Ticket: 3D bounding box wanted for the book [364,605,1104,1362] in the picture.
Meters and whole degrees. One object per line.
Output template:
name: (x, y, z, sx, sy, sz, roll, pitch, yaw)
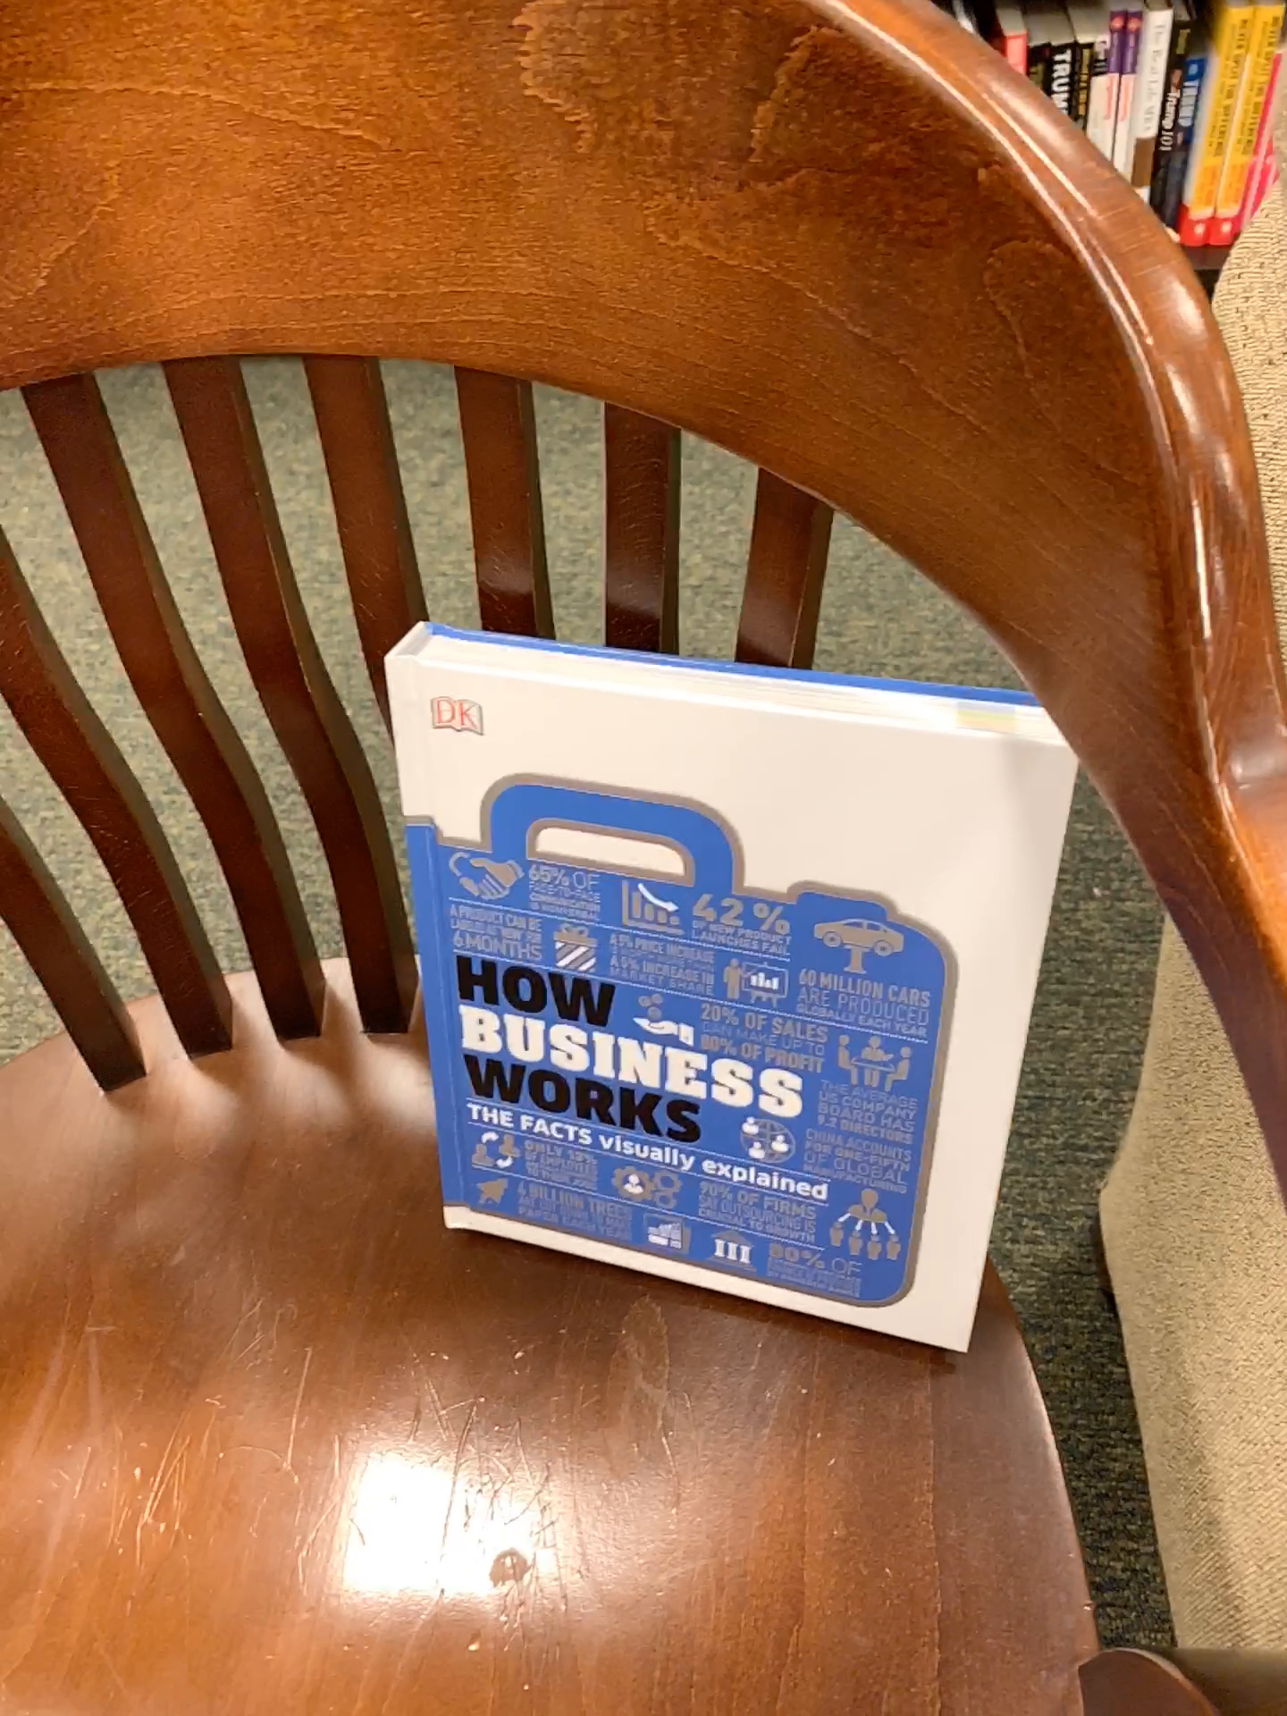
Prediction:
book: (0.022, 0.050, 0.450, 0.212, 0.246, 0.039, 10, 33, 14)
